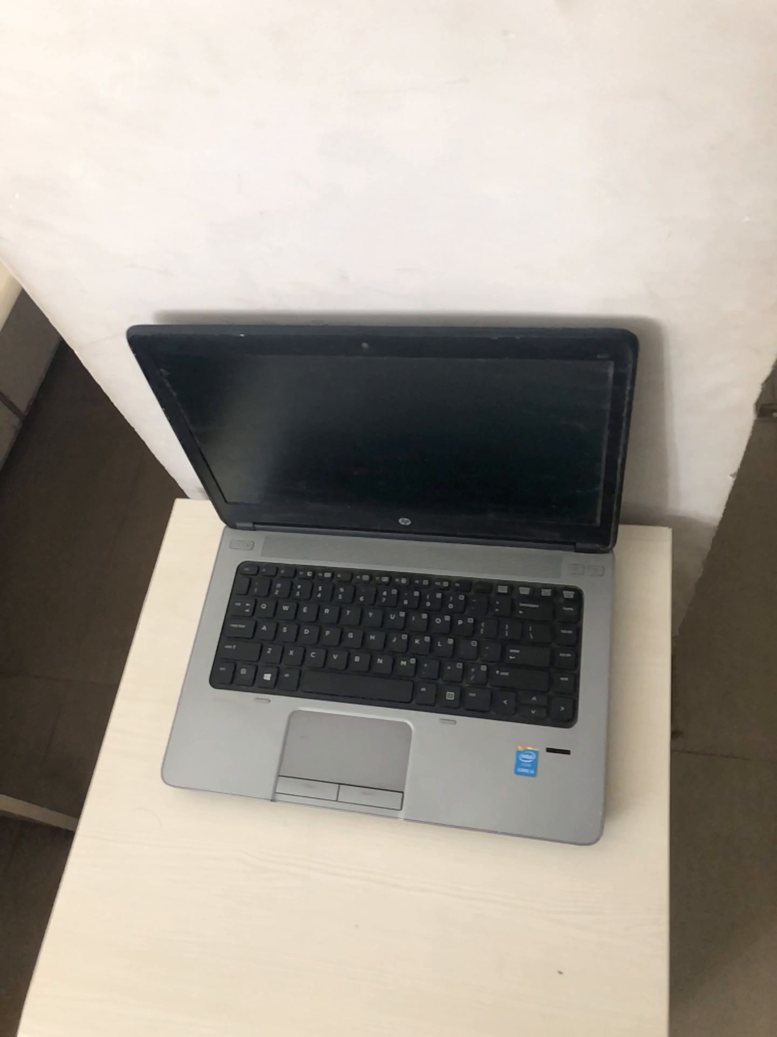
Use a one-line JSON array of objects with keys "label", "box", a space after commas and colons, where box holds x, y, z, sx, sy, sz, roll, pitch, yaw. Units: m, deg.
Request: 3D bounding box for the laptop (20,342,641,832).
[{"label": "laptop", "box": [-0.006, 0.047, 0.560, 0.304, 0.210, 0.237, 4, 64, 13]}]
